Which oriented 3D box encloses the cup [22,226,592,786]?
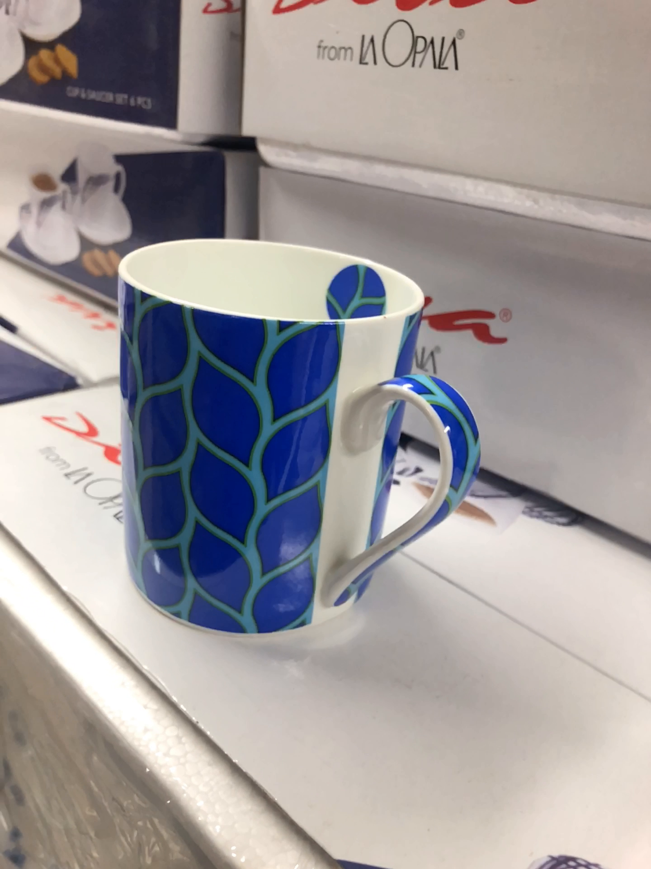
[{"bbox_3d":[-0.012,0.003,0.201,0.120,0.089,0.080,26,32,36],"label":"cup"}]
